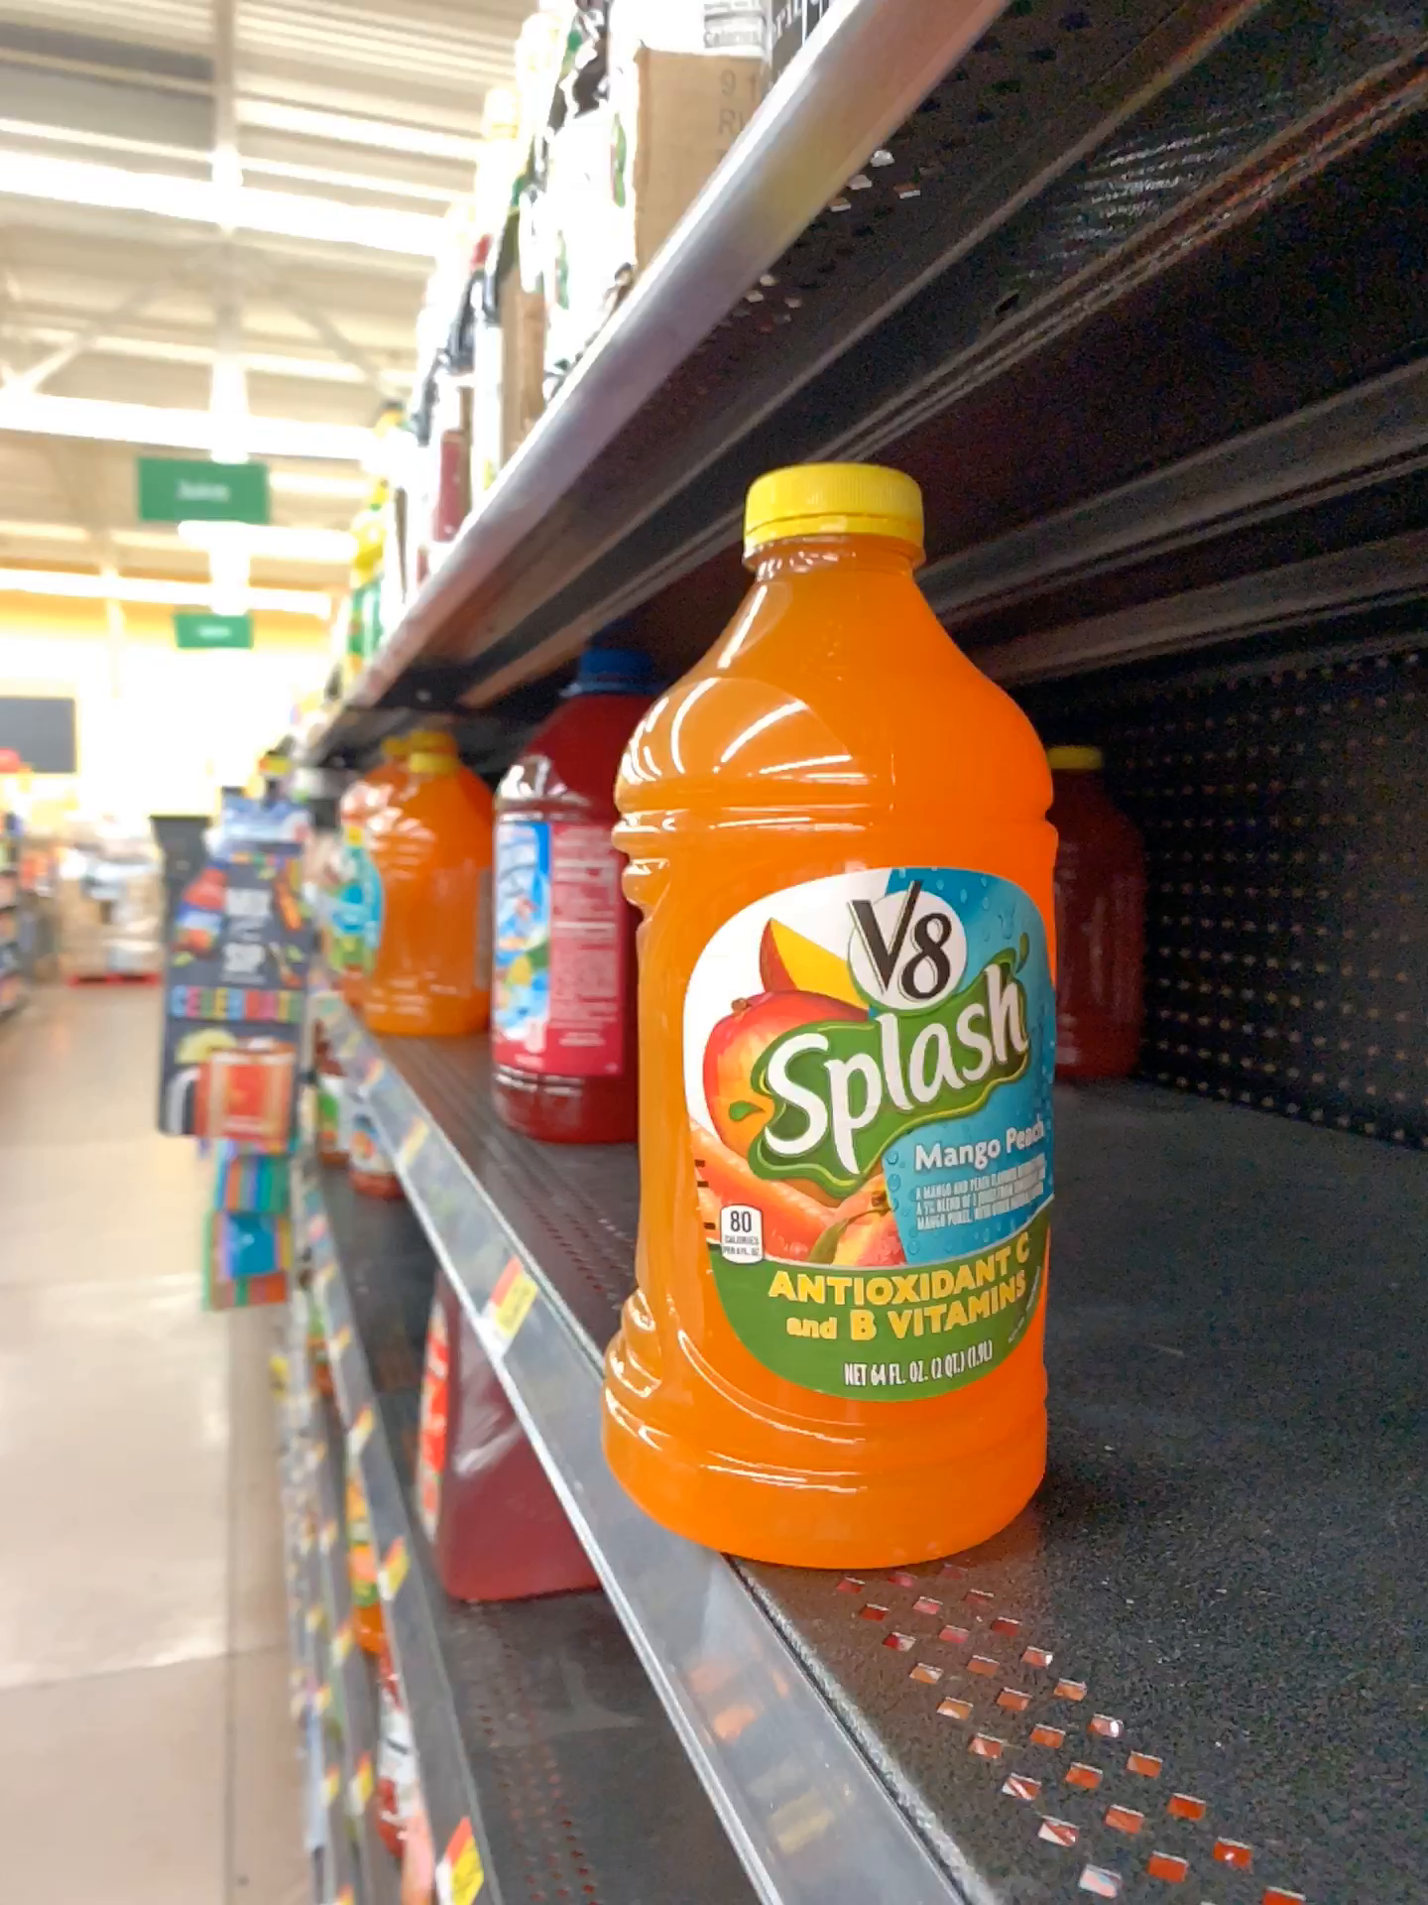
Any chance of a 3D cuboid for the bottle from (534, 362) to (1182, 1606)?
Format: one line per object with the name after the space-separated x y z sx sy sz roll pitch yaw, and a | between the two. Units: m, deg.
0.027 0.004 0.386 0.128 0.260 0.125 0 3 0 | bottle
